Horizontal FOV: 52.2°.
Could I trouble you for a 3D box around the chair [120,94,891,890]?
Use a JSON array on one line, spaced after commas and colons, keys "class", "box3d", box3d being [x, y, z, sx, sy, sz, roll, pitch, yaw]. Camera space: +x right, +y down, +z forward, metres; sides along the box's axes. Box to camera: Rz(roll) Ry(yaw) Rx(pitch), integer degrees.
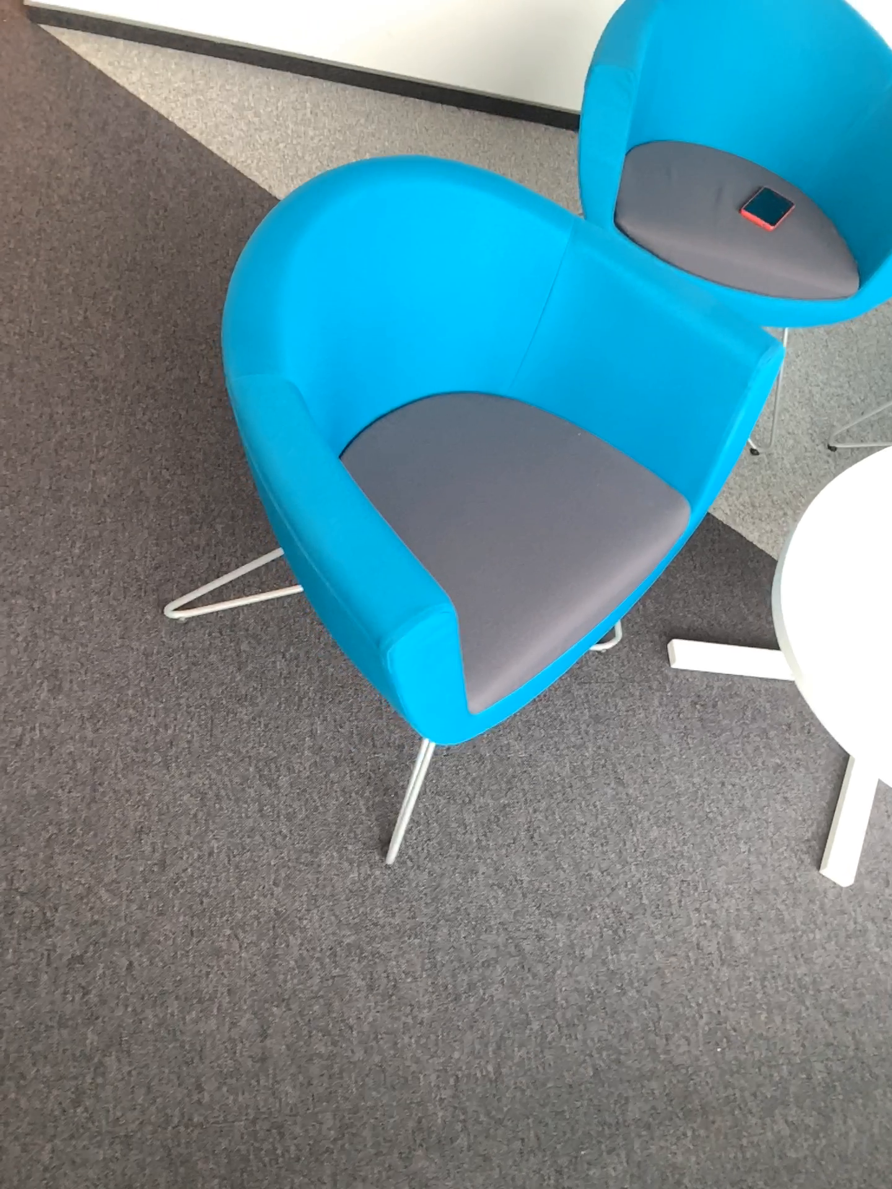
[{"class": "chair", "box3d": [0.026, -0.137, 1.377, 0.640, 0.757, 0.713, 45, 56, 13]}]
